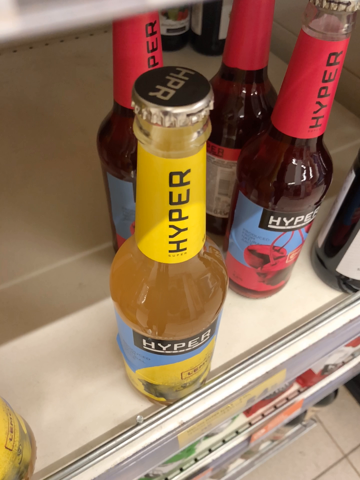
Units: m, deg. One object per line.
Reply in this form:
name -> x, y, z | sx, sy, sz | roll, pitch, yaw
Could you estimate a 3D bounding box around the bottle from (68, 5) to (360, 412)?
bottle -> 0.001, 0.014, 0.228 | 0.080, 0.239, 0.080 | 1, 52, -1
